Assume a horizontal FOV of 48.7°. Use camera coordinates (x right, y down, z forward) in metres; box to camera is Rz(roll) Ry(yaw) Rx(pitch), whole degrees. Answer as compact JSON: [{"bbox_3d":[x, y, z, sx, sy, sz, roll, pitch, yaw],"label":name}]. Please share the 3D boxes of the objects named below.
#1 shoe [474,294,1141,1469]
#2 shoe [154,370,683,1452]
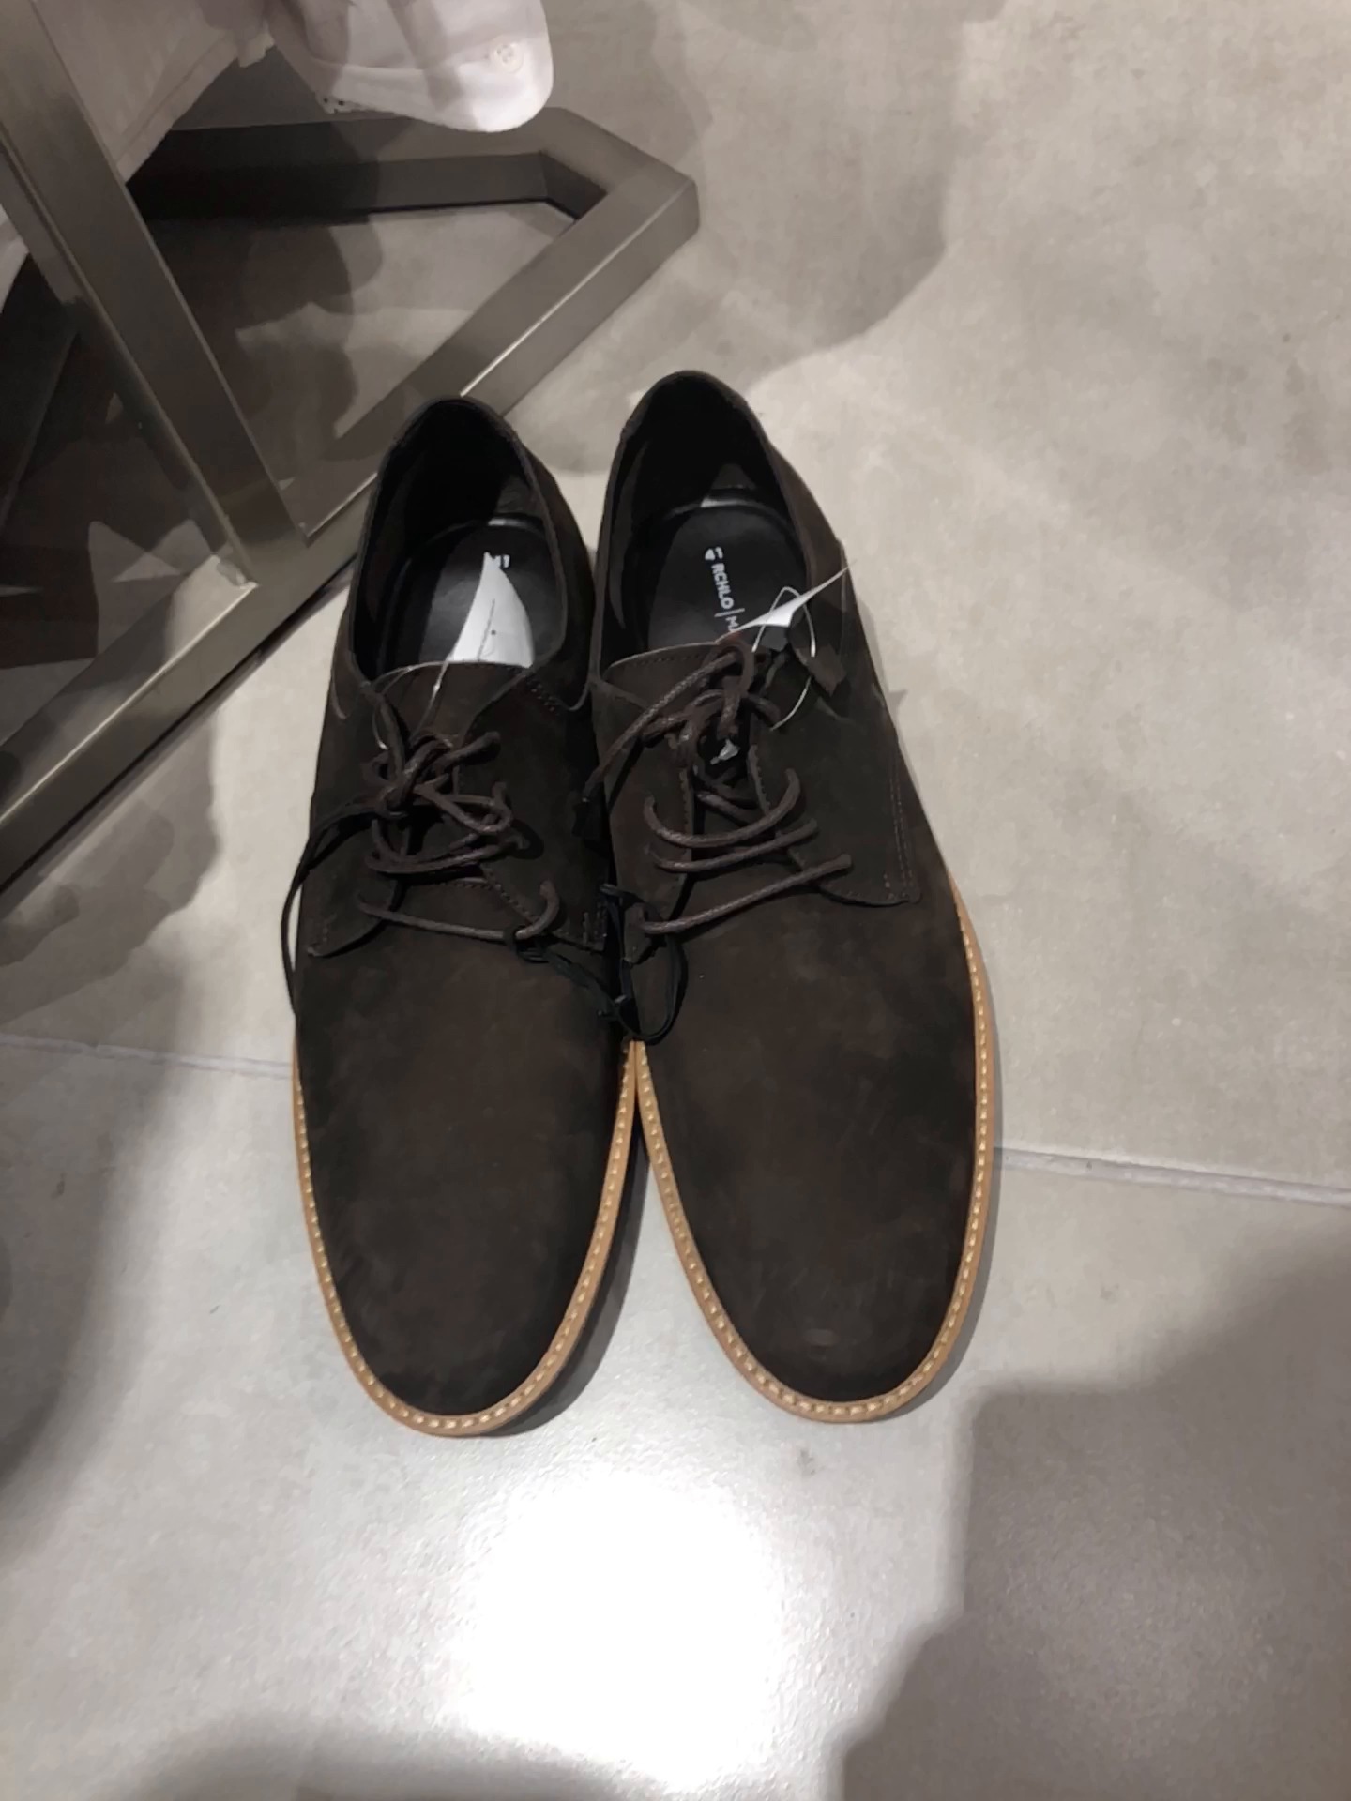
[{"bbox_3d":[0.026,-0.007,0.429,0.110,0.120,0.301,-11,66,2],"label":"shoe"},{"bbox_3d":[-0.064,0.003,0.456,0.110,0.120,0.301,-4,66,5],"label":"shoe"}]
